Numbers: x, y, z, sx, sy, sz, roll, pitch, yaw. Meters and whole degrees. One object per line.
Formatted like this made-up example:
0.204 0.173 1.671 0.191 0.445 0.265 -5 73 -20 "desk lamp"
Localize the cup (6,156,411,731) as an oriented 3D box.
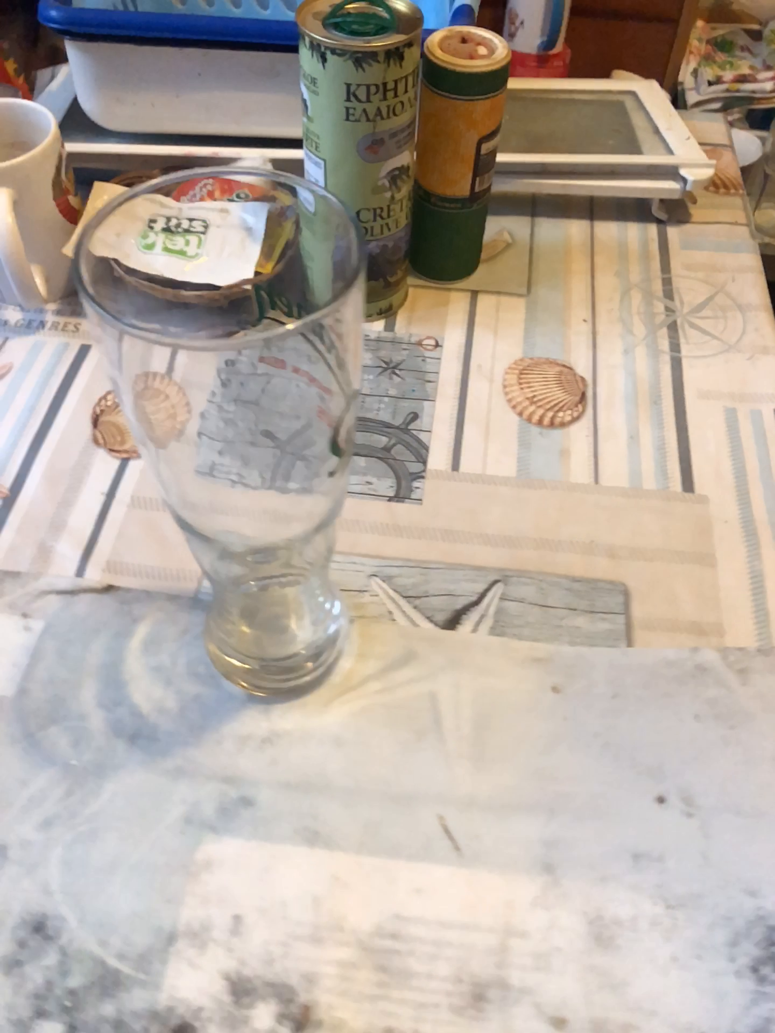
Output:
-0.056 -0.013 0.315 0.098 0.192 0.089 -12 55 -11 "cup"
